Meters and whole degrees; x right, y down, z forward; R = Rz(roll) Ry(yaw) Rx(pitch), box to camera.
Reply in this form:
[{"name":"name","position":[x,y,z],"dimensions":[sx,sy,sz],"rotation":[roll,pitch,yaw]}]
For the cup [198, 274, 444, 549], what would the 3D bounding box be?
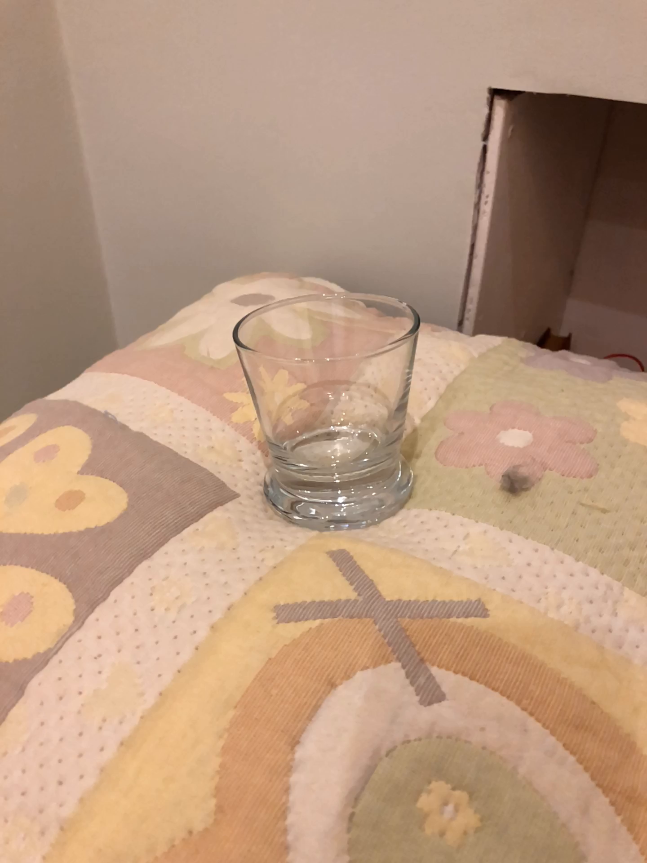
[{"name":"cup","position":[0.003,-0.015,0.330],"dimensions":[0.080,0.089,0.080],"rotation":[-2,28,1]}]
